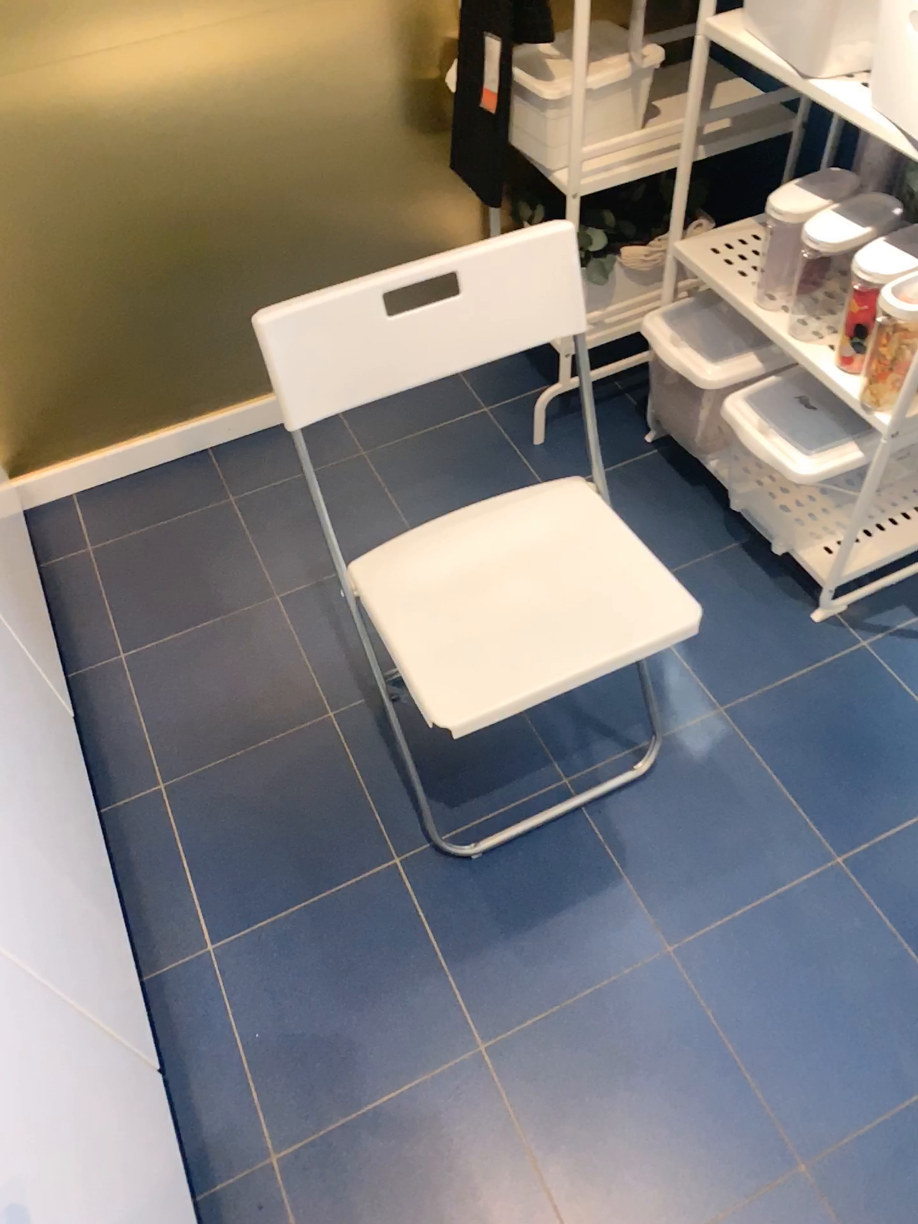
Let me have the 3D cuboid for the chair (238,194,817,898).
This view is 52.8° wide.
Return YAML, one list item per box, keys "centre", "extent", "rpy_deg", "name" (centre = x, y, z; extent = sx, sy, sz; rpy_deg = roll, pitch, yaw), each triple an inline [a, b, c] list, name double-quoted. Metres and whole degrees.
- centre: [0.068, -0.042, 1.229]
  extent: [0.440, 0.748, 0.421]
  rpy_deg: [-22, 53, -13]
  name: "chair"
